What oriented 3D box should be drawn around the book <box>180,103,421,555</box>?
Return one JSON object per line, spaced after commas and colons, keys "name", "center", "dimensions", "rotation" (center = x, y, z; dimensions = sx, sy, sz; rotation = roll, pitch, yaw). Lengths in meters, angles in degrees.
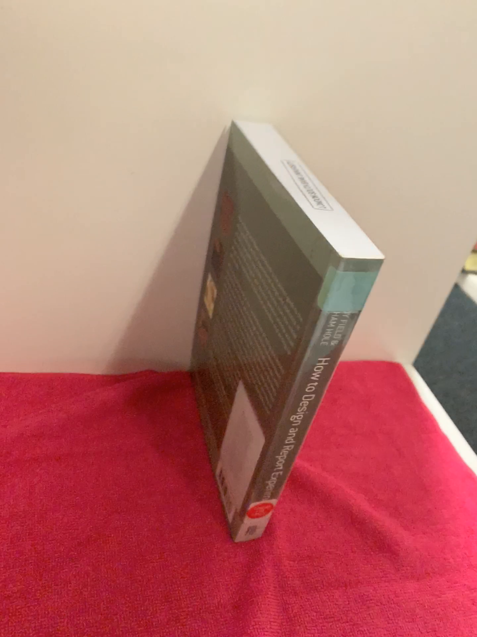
{"name": "book", "center": [0.011, 0.008, 0.350], "dimensions": [0.040, 0.248, 0.192], "rotation": [0, 38, -19]}
